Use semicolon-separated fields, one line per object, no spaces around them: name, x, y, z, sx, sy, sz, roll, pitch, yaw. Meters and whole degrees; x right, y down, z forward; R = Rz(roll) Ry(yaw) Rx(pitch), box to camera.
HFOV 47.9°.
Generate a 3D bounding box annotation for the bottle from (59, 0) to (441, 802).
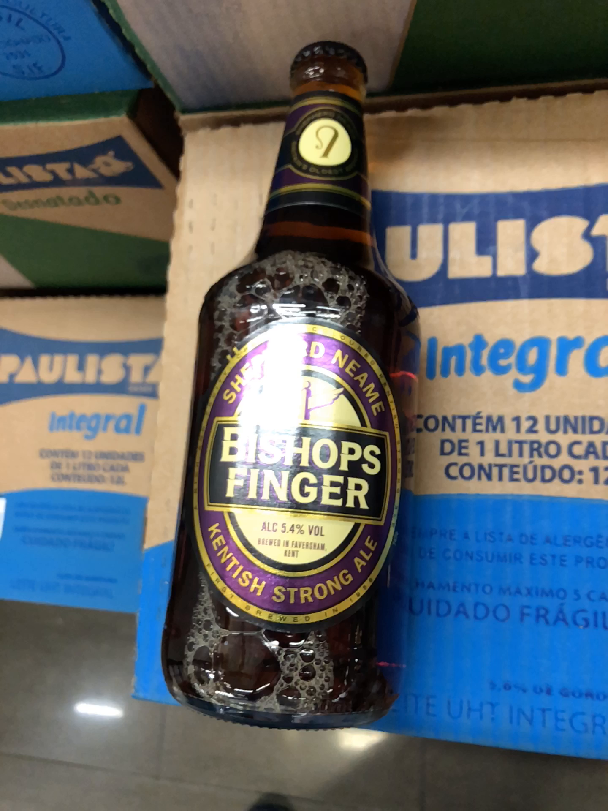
bottle;-0.004;-0.030;0.218;0.080;0.070;0.250;2;78;14
